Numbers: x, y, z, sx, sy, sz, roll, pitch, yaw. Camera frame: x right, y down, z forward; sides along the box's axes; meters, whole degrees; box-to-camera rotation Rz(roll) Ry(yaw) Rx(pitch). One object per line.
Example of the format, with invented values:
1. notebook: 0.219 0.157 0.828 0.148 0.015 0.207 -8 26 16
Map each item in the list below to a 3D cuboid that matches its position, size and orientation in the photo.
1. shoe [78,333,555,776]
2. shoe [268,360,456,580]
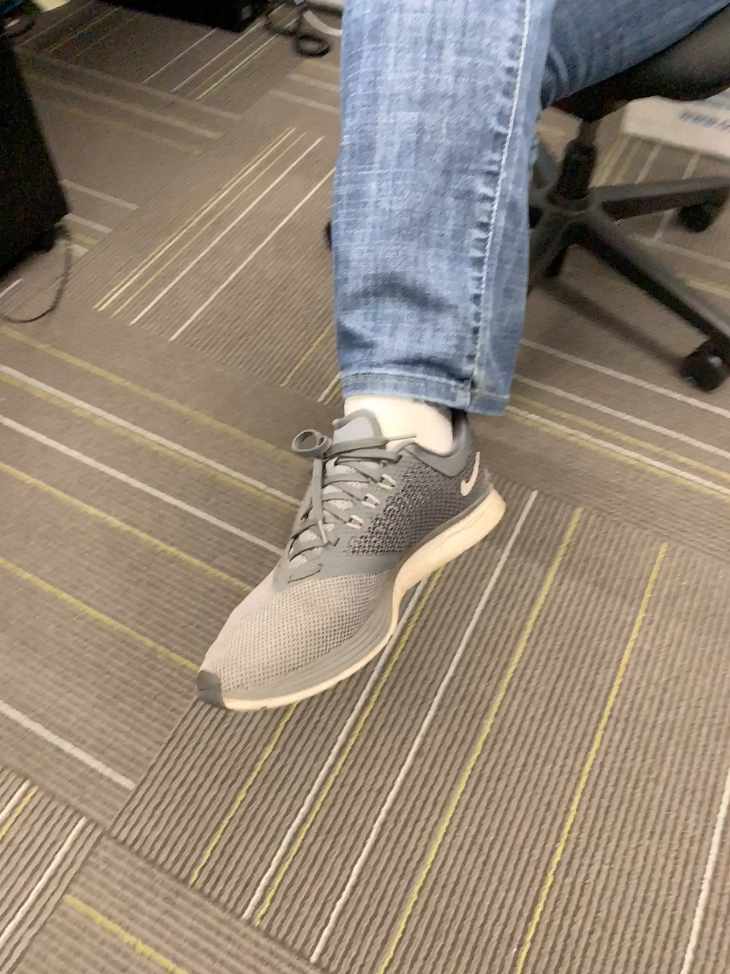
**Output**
1. shoe: -0.017 0.027 0.529 0.295 0.142 0.122 -38 22 -32
2. shoe: 0.002 -0.029 0.974 0.120 0.085 0.269 25 58 15
